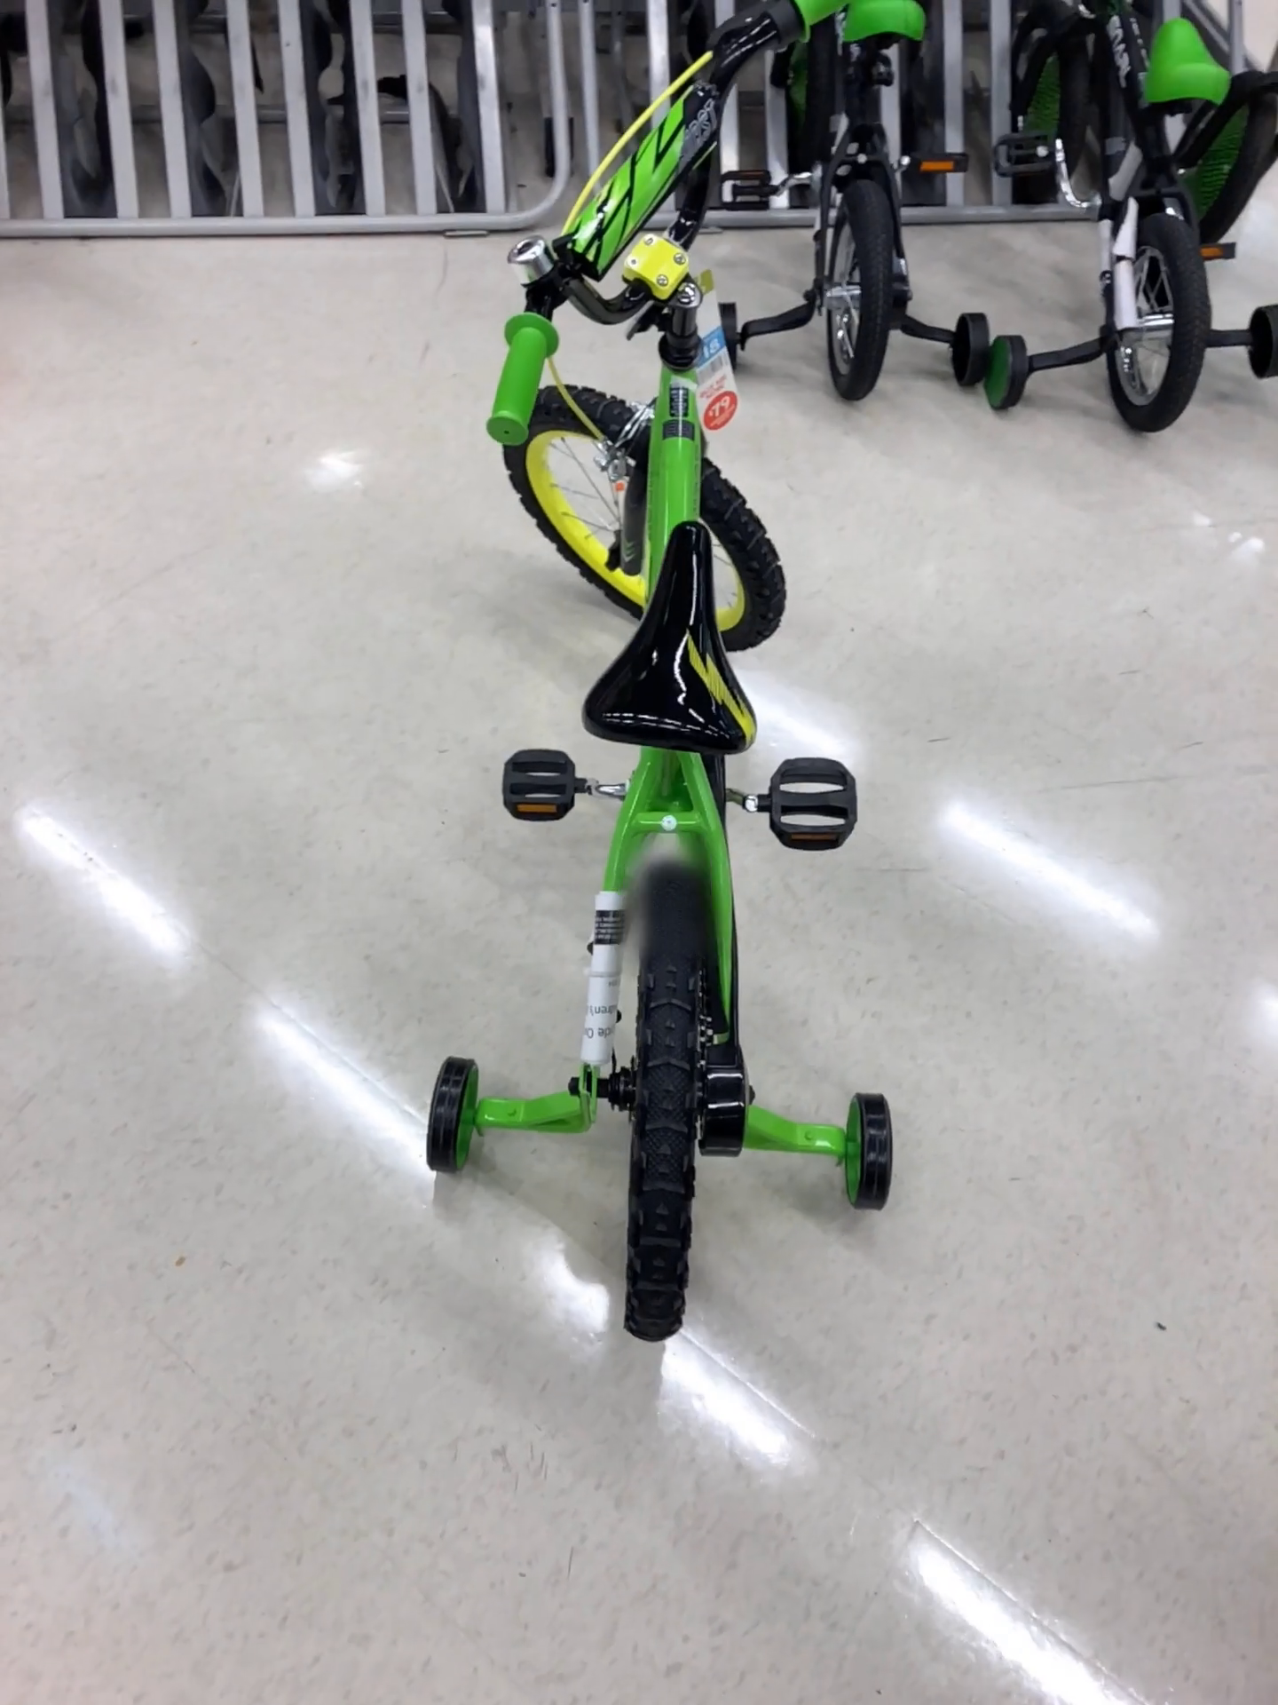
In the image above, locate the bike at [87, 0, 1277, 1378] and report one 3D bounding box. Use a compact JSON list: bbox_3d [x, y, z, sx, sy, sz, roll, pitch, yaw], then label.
[{"bbox_3d":[-0.060,-0.236,1.166,0.552,0.807,1.048,-5,59,-7],"label":"bike"}]
